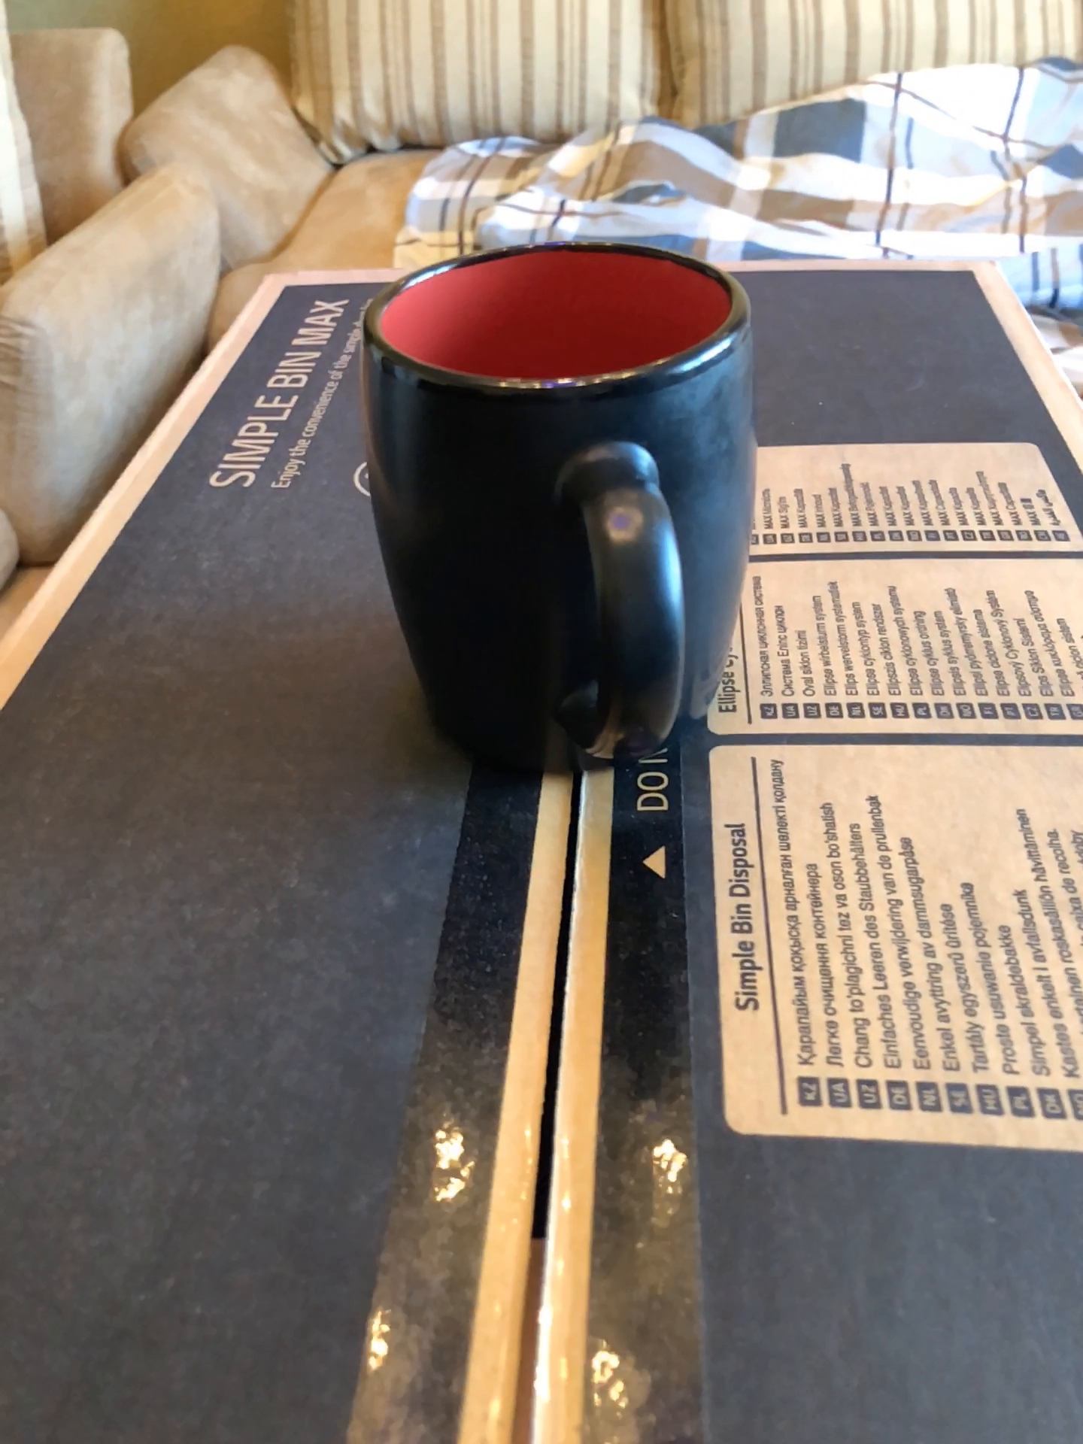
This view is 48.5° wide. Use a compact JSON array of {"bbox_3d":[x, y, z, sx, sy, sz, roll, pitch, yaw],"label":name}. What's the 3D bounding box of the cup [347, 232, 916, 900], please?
[{"bbox_3d":[0.009,-0.041,0.269,0.090,0.090,0.121,-7,40,-6],"label":"cup"}]
